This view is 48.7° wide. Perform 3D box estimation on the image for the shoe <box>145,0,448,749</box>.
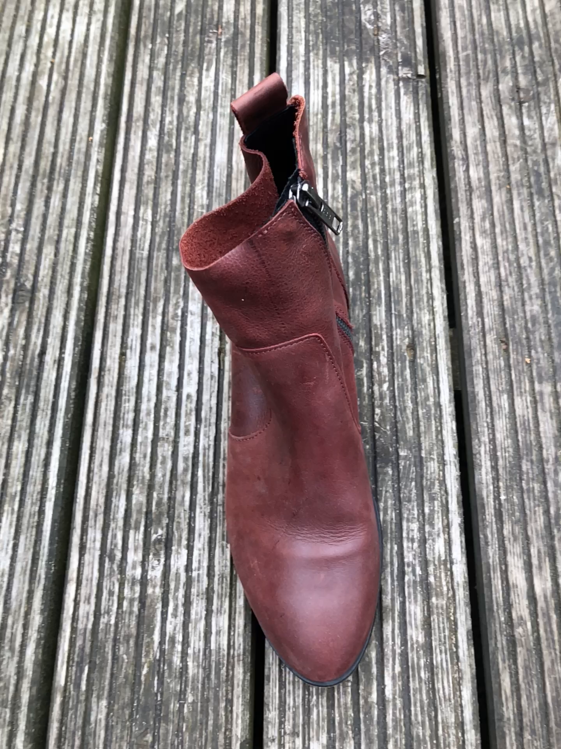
[{"bbox_3d":[0.022,0.012,0.348,0.090,0.240,0.341,-1,72,7],"label":"shoe"}]
